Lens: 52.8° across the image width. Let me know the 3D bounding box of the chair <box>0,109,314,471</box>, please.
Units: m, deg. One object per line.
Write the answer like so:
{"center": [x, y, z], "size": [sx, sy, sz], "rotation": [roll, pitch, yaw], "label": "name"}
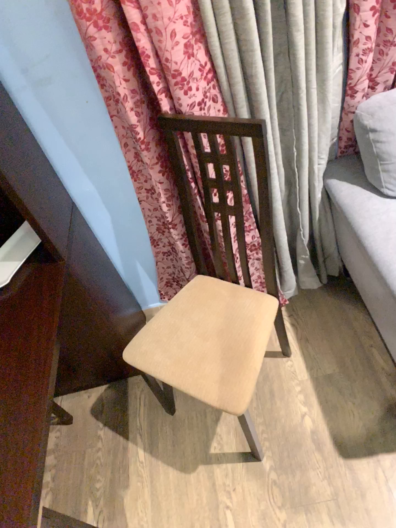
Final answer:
{"center": [-0.008, 0.119, 1.230], "size": [0.531, 0.976, 0.511], "rotation": [14, 54, 30], "label": "chair"}
